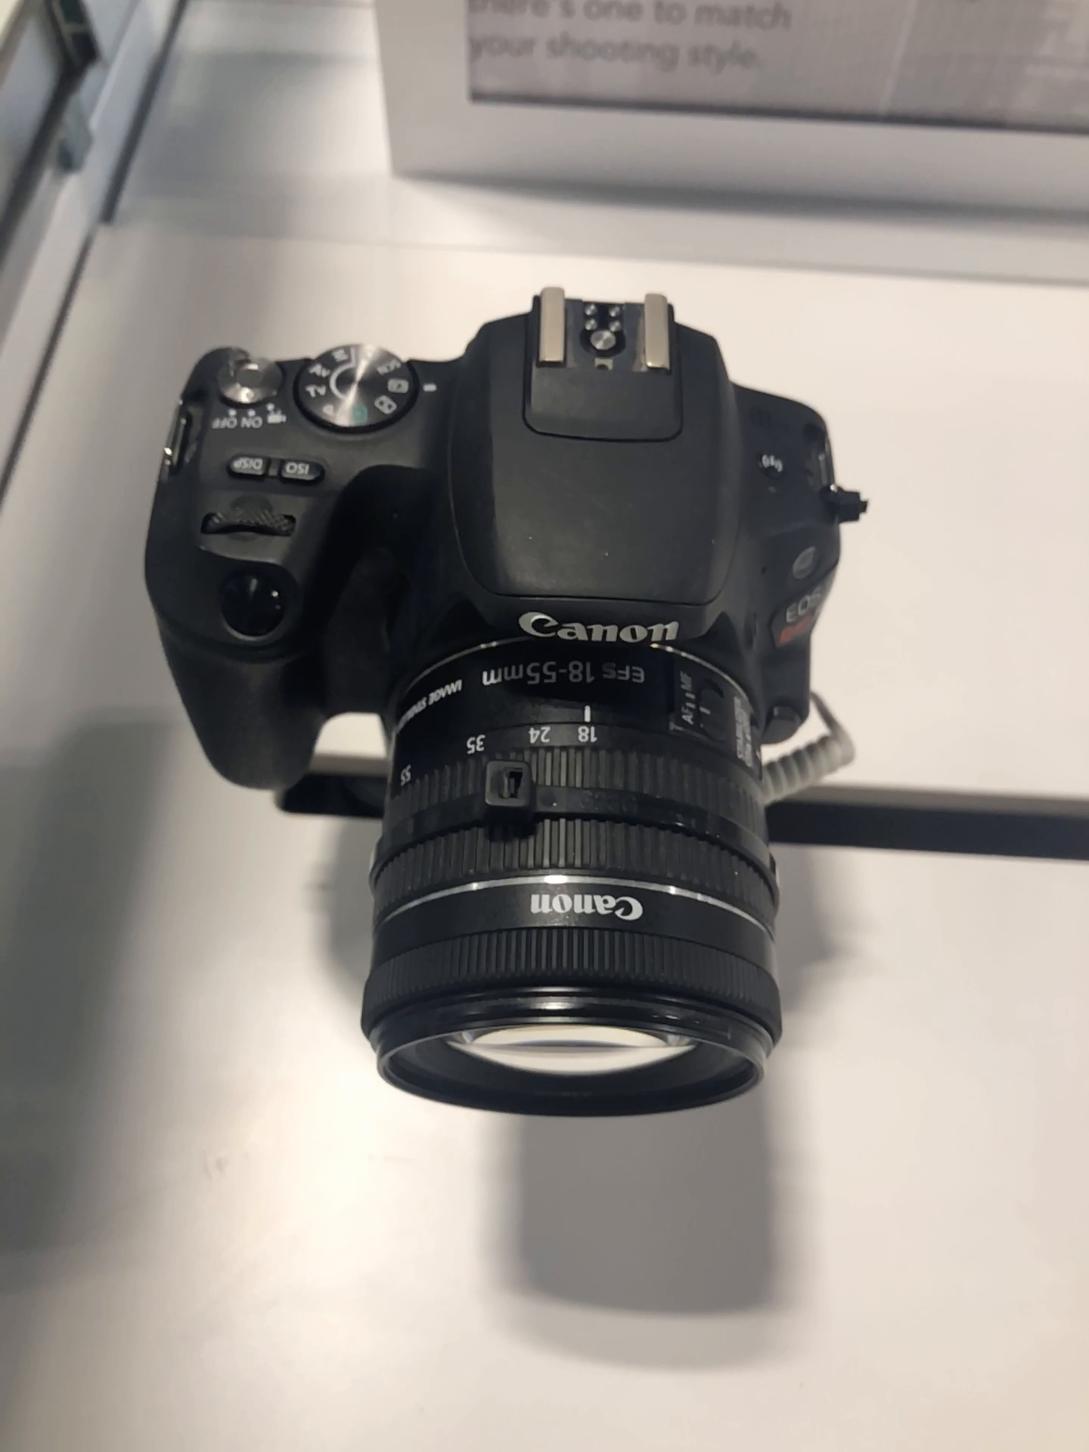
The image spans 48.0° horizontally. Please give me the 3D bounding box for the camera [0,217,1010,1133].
[{"bbox_3d":[-0.010,-0.003,0.202,0.122,0.100,0.110,3,60,0],"label":"camera"}]
